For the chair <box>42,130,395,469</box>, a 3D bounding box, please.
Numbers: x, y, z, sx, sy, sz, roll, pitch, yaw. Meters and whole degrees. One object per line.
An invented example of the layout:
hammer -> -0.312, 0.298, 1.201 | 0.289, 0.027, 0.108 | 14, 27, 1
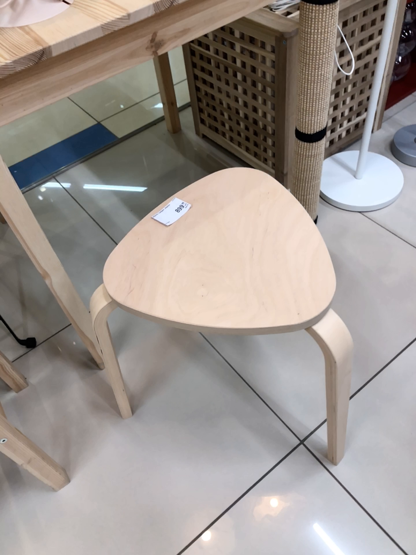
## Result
chair -> 0.070, 0.042, 0.924 | 0.490, 0.467, 0.432 | 7, 53, 14
